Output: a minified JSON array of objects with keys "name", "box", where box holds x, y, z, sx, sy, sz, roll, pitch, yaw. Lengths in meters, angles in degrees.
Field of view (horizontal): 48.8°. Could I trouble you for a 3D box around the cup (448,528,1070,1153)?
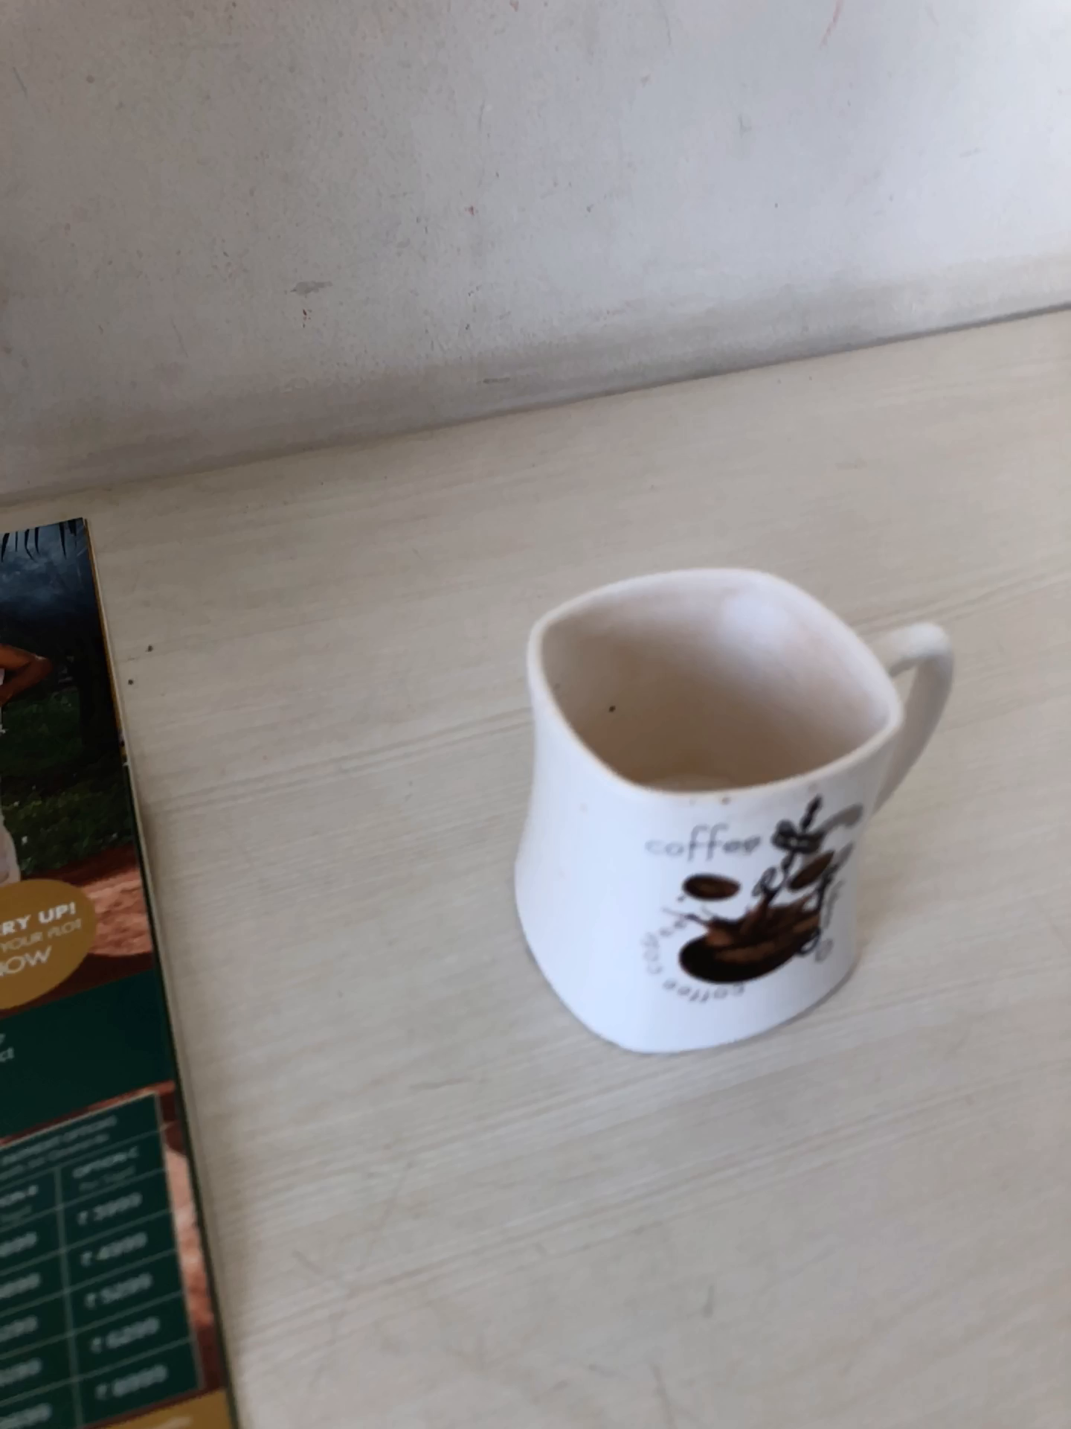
[{"name":"cup","box":[0.039,0.021,0.230,0.090,0.070,0.070,-16,43,-16]}]
